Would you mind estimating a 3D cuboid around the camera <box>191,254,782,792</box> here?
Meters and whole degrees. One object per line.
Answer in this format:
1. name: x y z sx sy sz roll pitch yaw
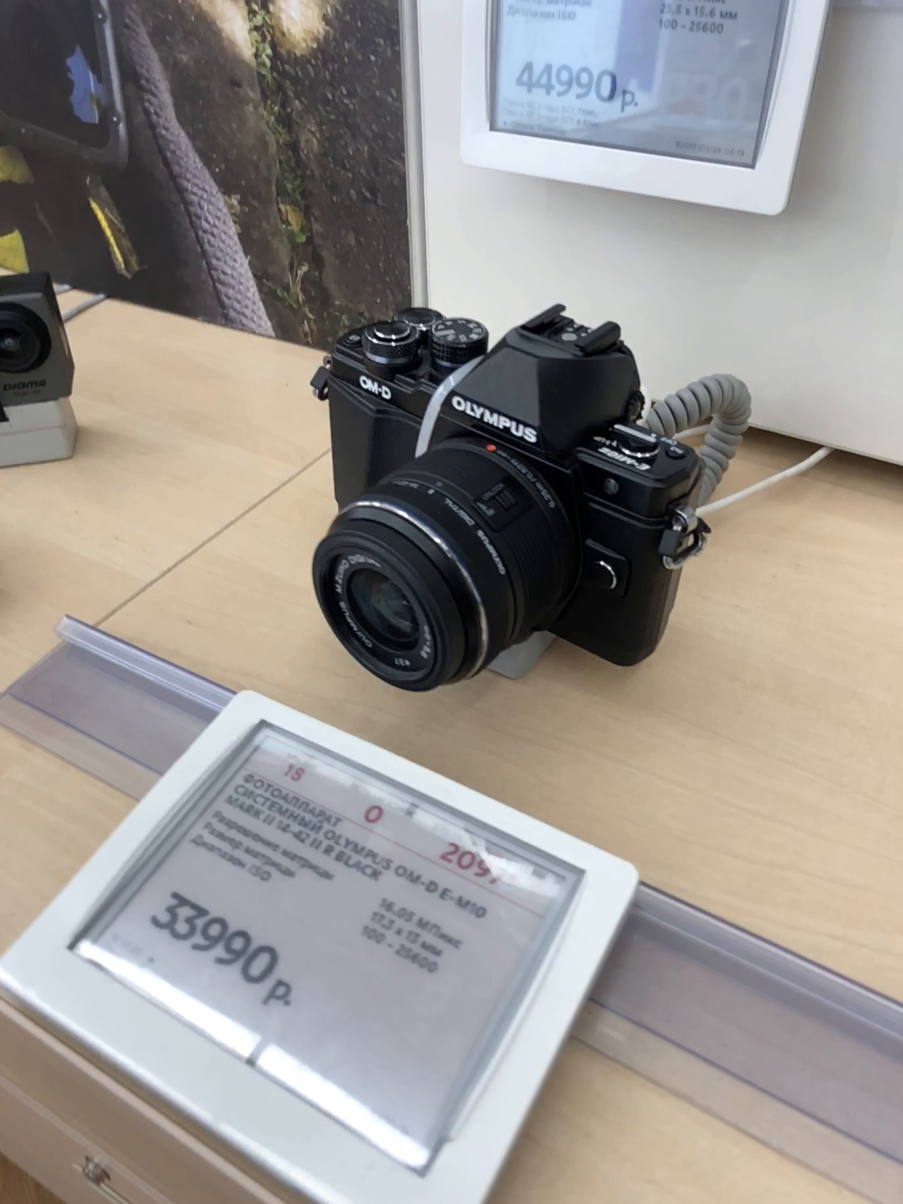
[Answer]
1. camera: 0.010 -0.031 0.277 0.112 0.079 0.100 25 46 29
